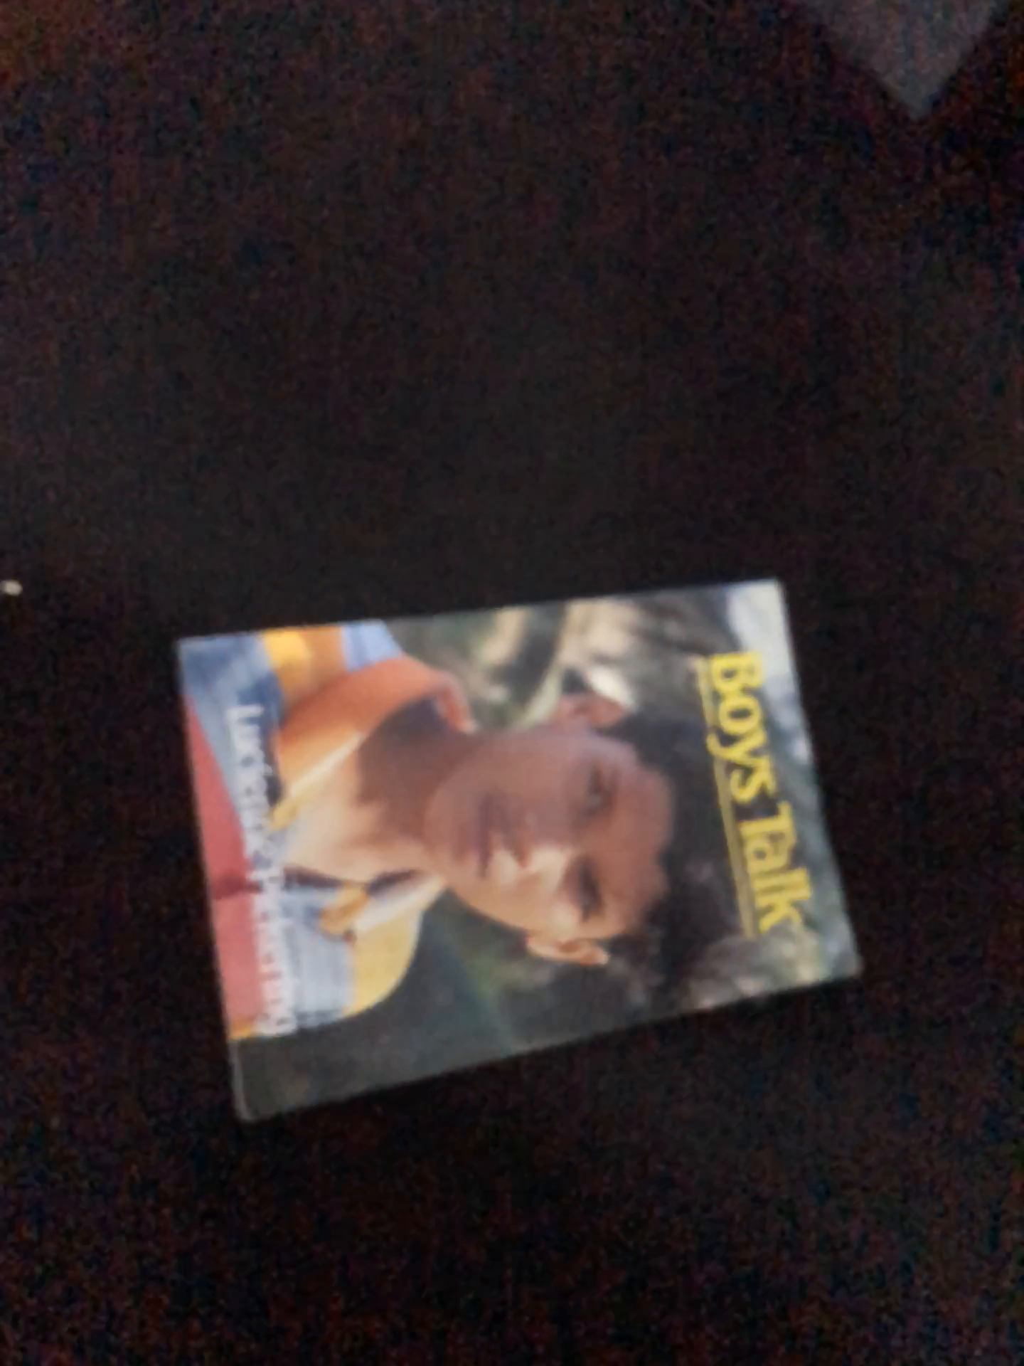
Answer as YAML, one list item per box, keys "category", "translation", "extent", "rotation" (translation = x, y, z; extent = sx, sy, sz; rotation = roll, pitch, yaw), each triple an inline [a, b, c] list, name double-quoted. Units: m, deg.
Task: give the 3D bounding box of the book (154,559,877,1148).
- category: "book"
  translation: [0.008, 0.037, 0.323]
  extent: [0.191, 0.010, 0.130]
  rotation: [-7, 84, -21]
